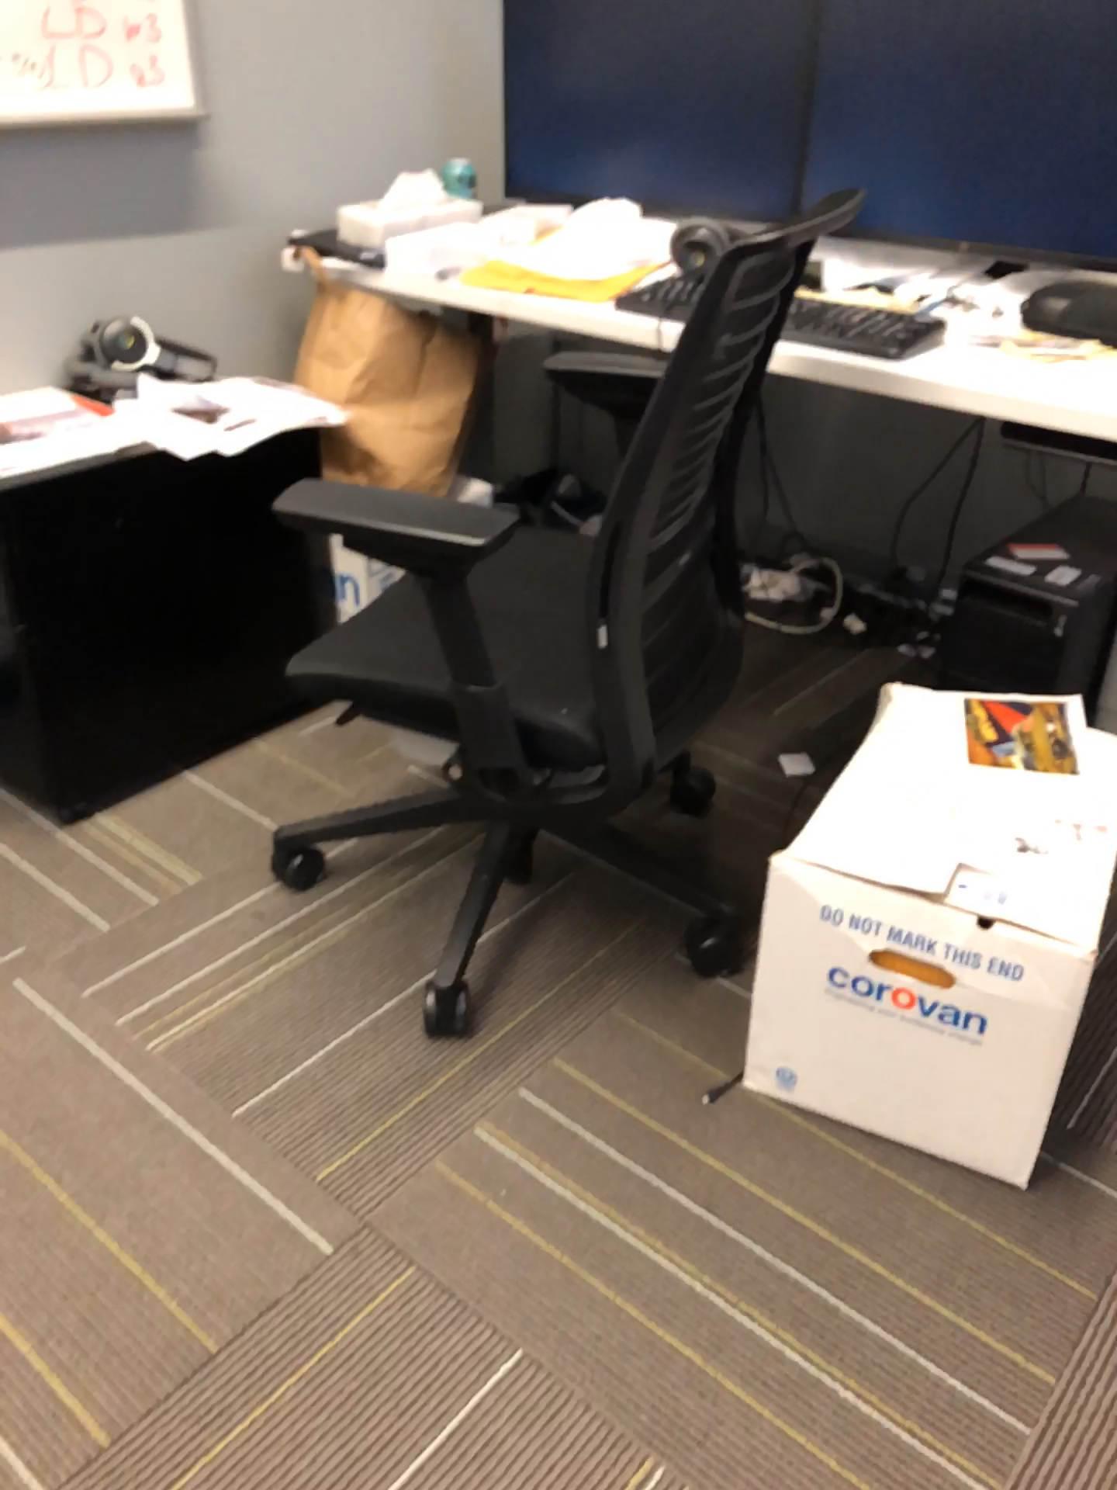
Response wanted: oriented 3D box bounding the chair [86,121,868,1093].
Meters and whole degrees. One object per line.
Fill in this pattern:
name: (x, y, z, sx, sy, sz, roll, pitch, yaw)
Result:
chair: (-0.037, -0.223, 1.530, 0.610, 0.935, 0.673, 11, 32, 17)
